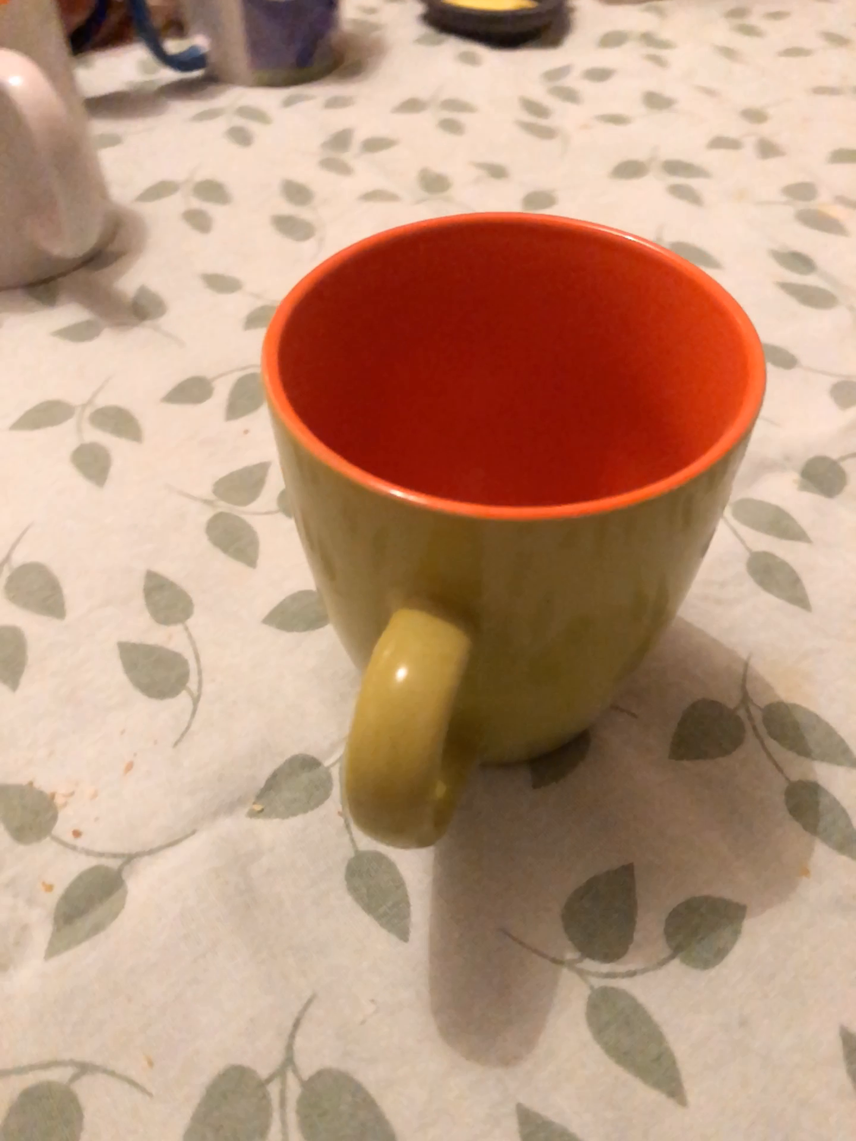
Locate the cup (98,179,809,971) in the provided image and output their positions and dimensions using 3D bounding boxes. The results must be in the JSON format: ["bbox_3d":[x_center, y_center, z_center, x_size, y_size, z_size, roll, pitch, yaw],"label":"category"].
[{"bbox_3d":[0.012,-0.004,0.192,0.090,0.089,0.121,7,49,7],"label":"cup"}]
